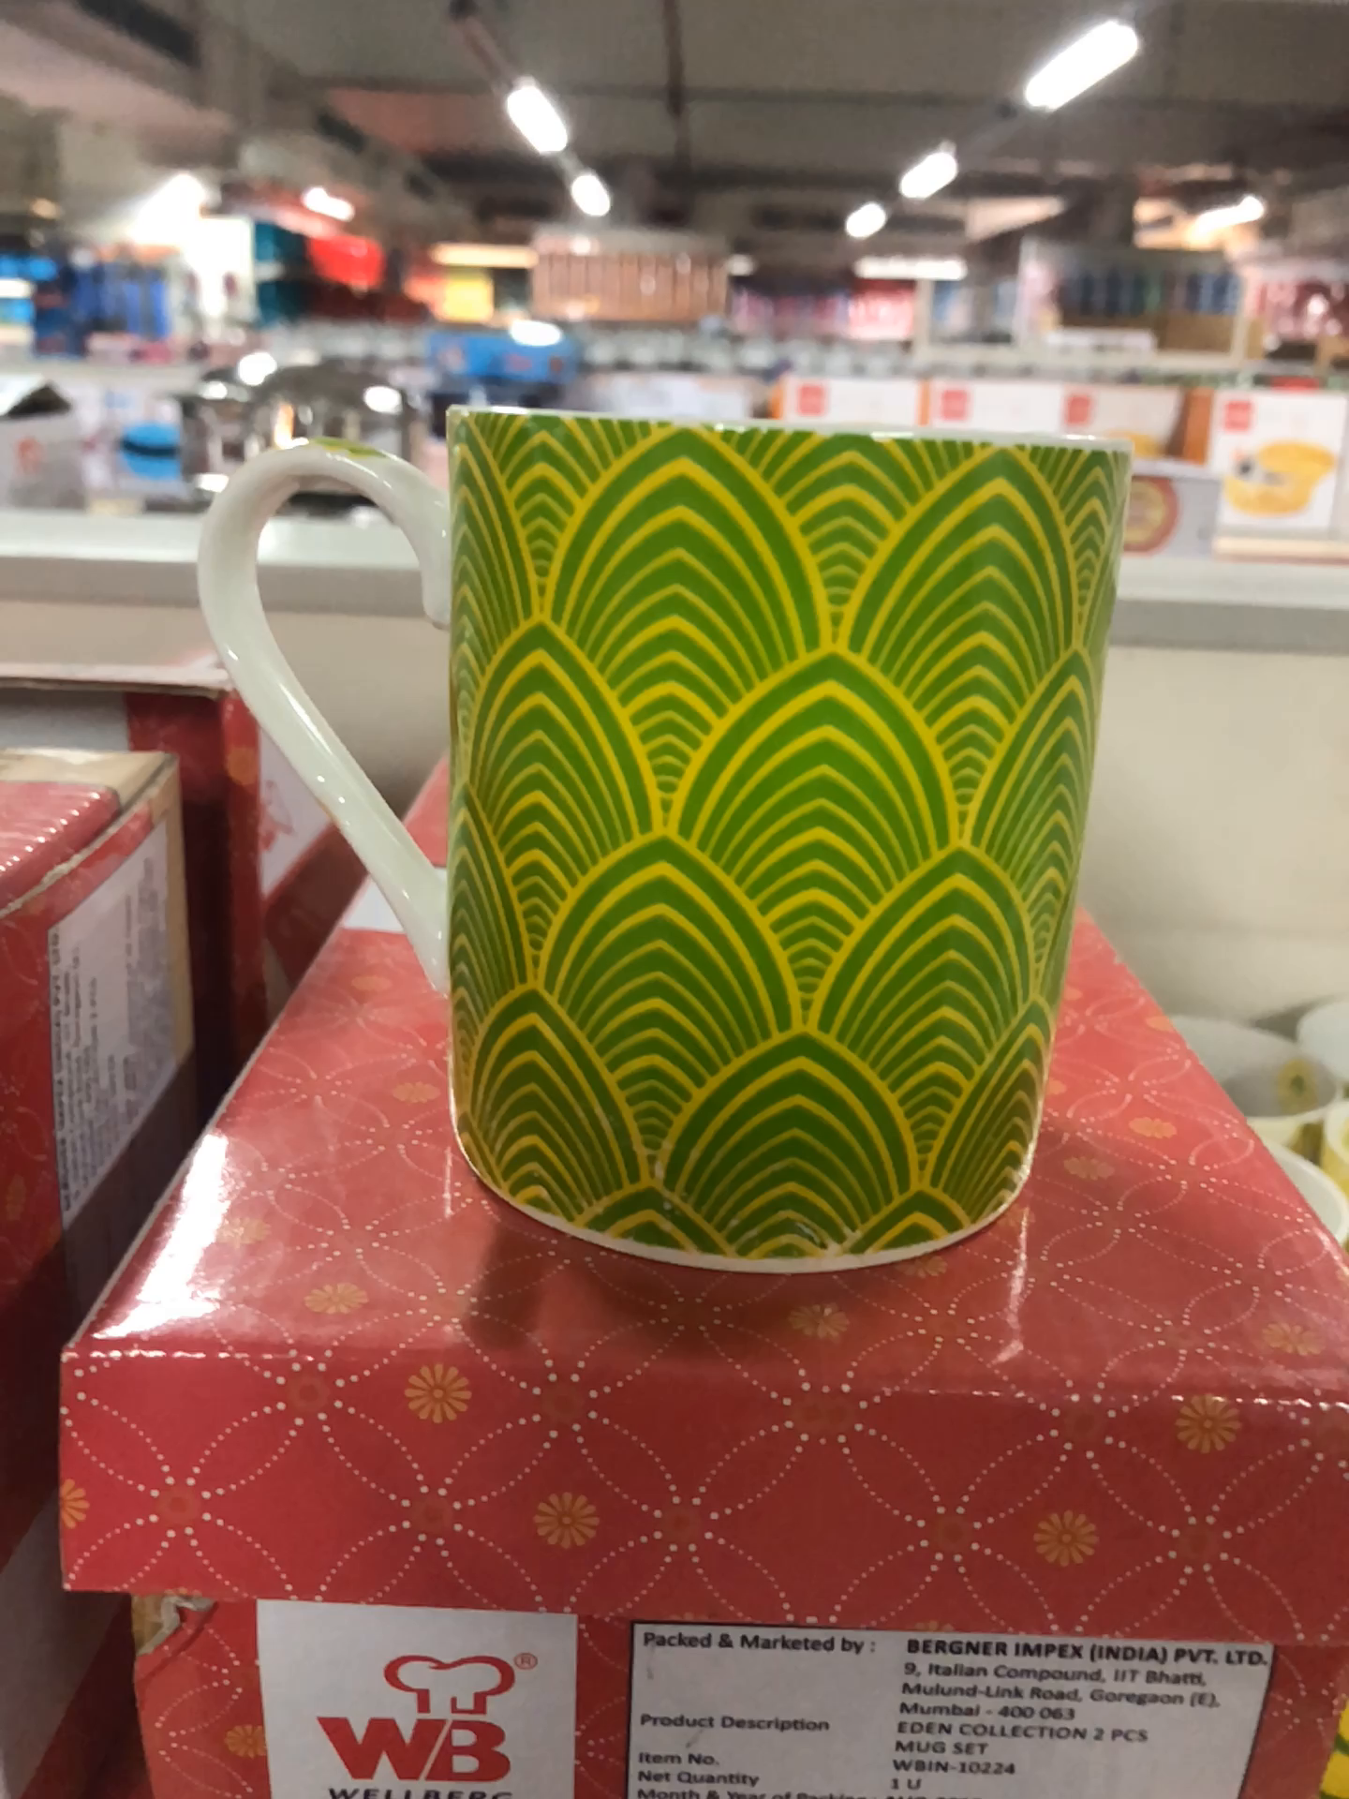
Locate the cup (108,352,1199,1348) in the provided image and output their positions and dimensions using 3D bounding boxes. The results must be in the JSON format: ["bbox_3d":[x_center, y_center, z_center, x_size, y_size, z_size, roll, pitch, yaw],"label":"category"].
[{"bbox_3d":[-0.002,-0.012,0.172,0.090,0.090,0.070,3,18,3],"label":"cup"}]
